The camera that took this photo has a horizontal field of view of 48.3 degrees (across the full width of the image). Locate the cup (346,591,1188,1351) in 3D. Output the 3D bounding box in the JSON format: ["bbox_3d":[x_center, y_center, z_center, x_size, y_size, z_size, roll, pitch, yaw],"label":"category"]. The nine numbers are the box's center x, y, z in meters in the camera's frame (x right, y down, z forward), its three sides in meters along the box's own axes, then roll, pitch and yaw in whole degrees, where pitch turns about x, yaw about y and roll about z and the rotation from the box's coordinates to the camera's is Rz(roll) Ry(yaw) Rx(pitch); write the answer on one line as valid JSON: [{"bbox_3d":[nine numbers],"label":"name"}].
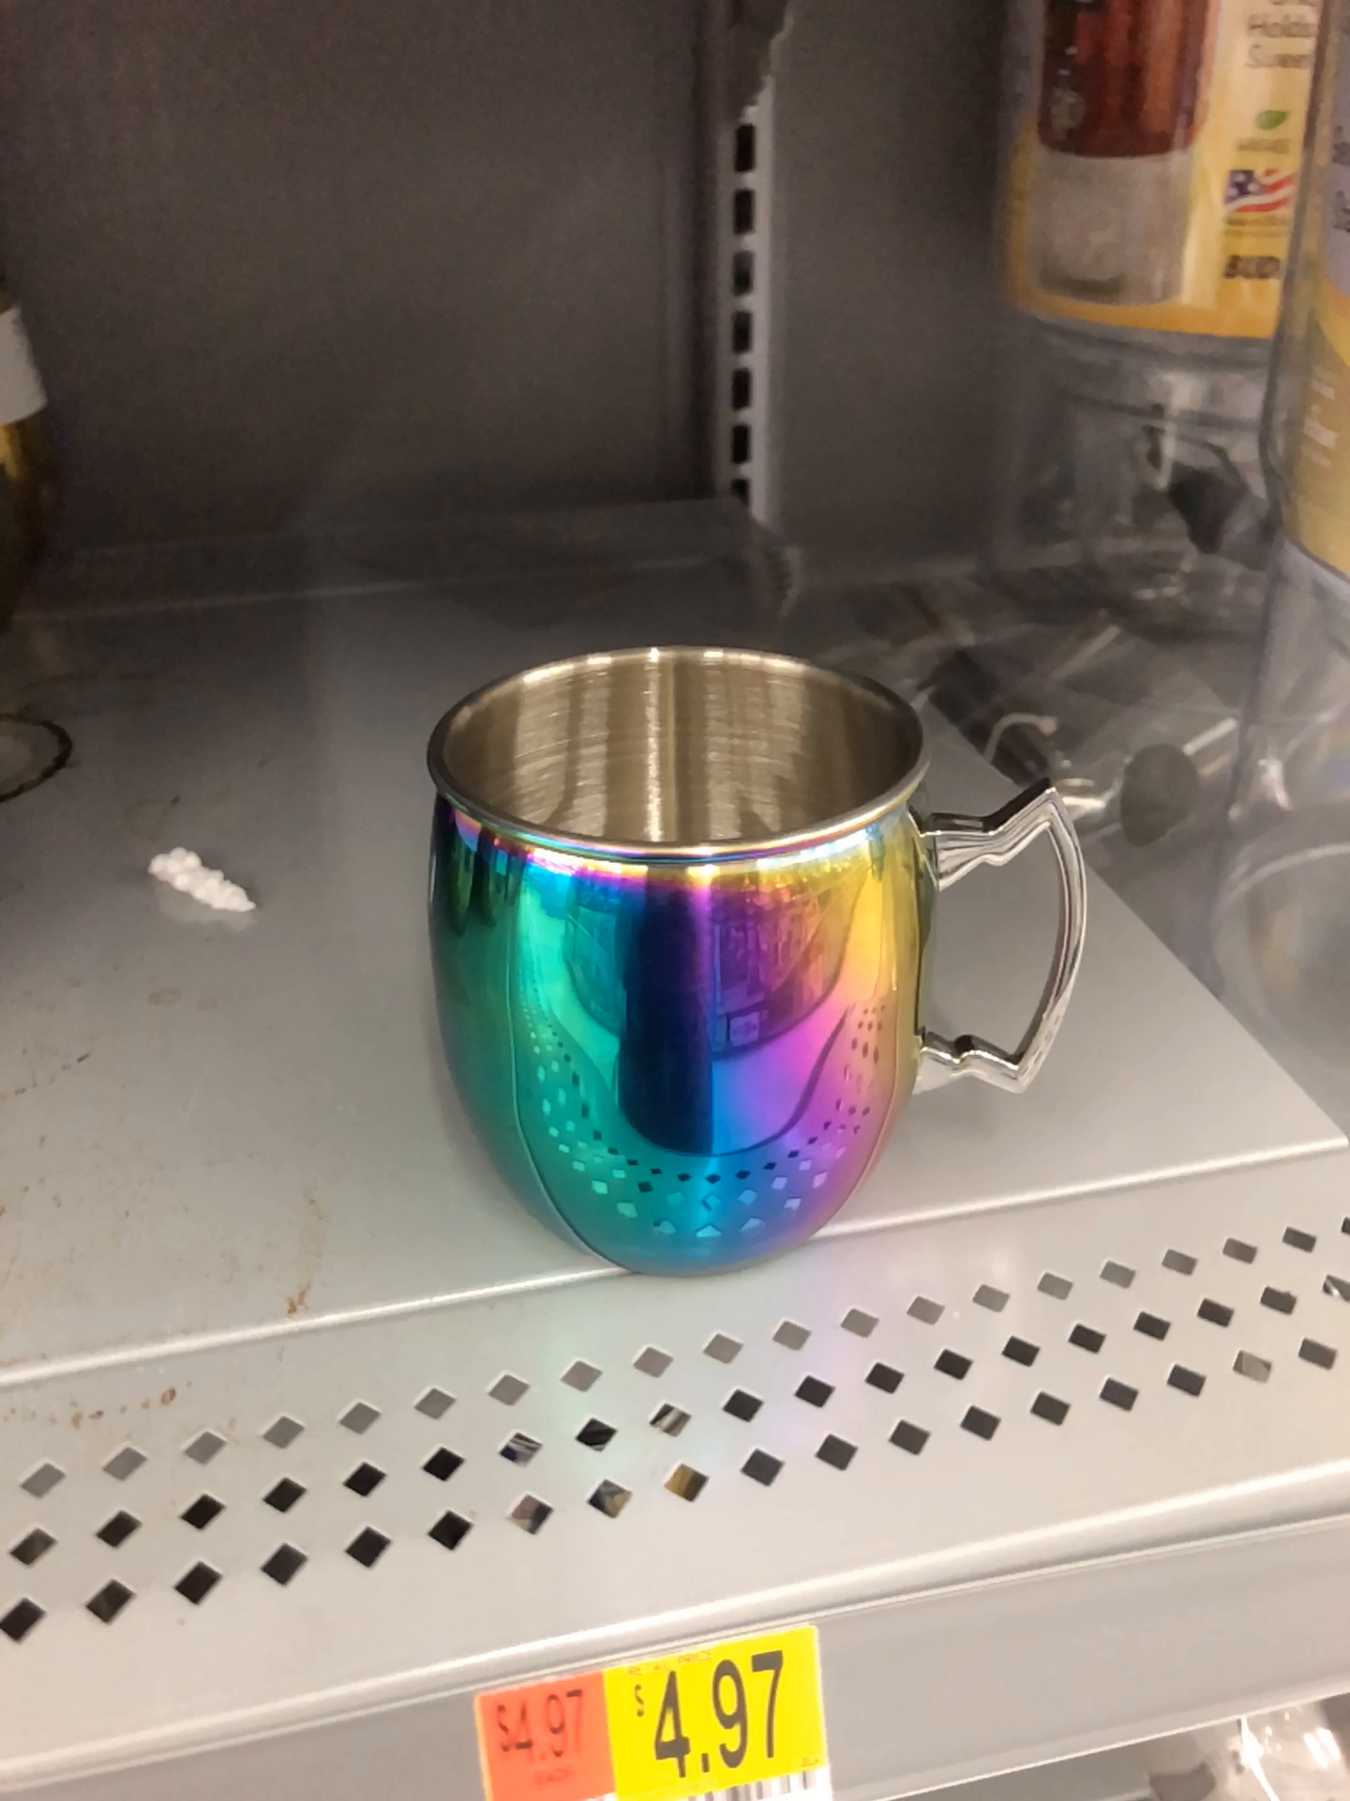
[{"bbox_3d":[0.008,0.007,0.305,0.133,0.097,0.104,-7,32,-11],"label":"cup"}]
